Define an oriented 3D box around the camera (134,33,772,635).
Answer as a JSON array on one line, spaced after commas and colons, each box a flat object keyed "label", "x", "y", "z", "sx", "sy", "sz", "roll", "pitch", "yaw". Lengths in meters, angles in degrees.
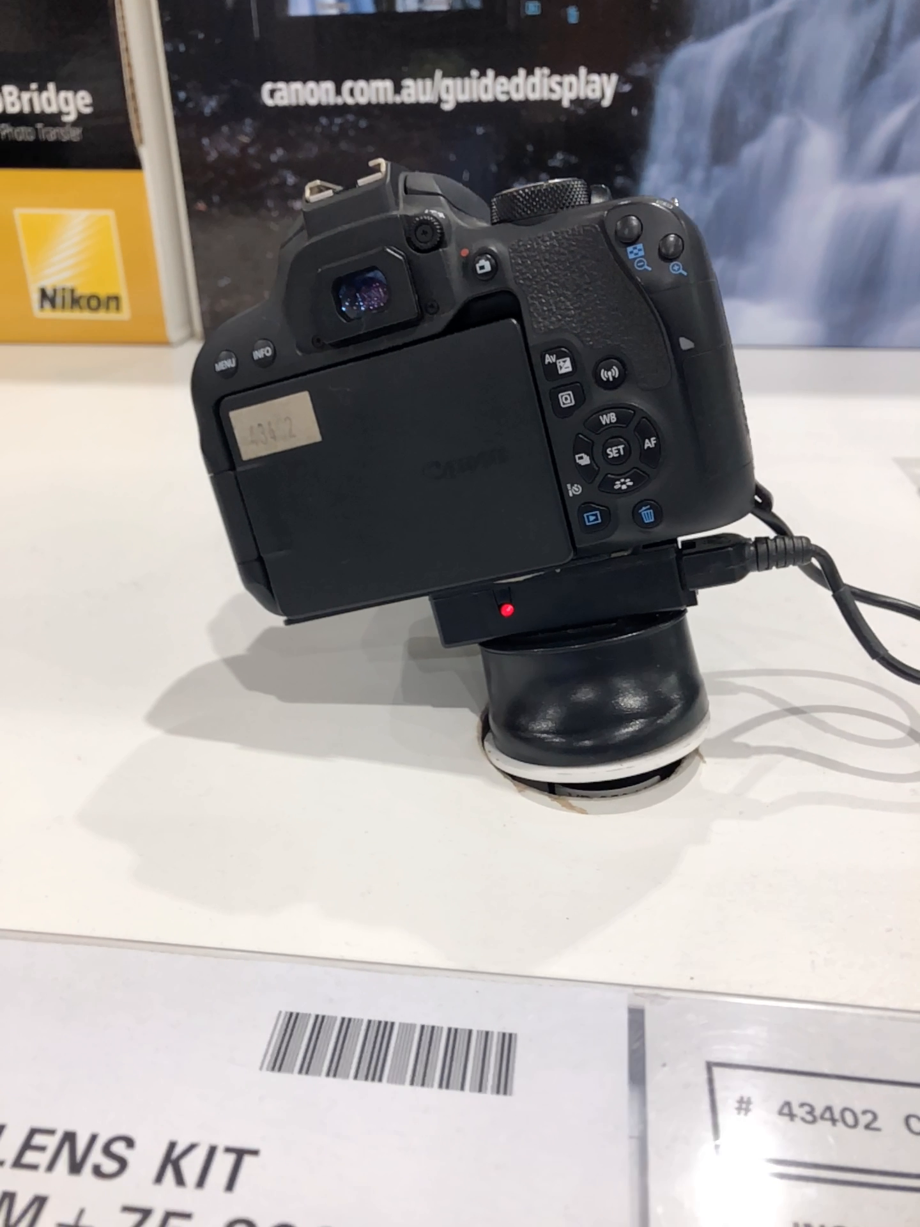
[{"label": "camera", "x": 0.003, "y": -0.066, "z": 0.273, "sx": 0.130, "sy": 0.105, "sz": 0.070, "roll": -13, "pitch": 9, "yaw": 15}]
